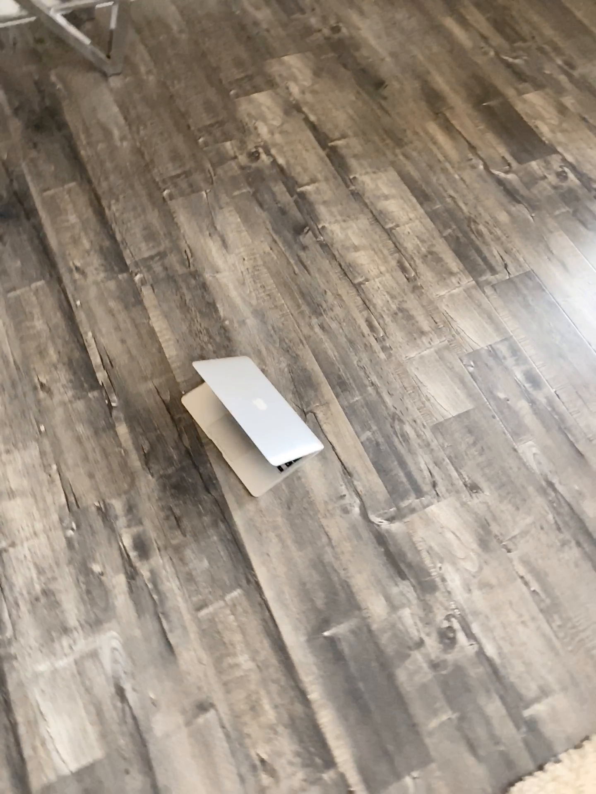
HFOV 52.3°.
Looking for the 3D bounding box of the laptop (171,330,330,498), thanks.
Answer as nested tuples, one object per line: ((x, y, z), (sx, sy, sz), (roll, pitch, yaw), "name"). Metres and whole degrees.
((-0.095, 0.031, 1.207), (0.173, 0.113, 0.270), (-33, 70, -20), "laptop")
